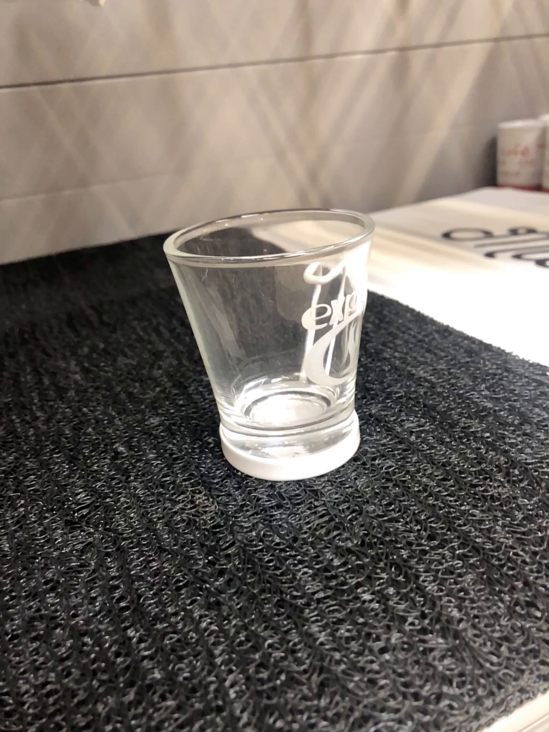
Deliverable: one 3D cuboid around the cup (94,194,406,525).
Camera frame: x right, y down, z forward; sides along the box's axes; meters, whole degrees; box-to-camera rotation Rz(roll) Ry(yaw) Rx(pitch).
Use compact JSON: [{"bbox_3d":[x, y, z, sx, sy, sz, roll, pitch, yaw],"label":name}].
[{"bbox_3d":[0.002,-0.011,0.191,0.059,0.063,0.093,7,28,19],"label":"cup"}]
